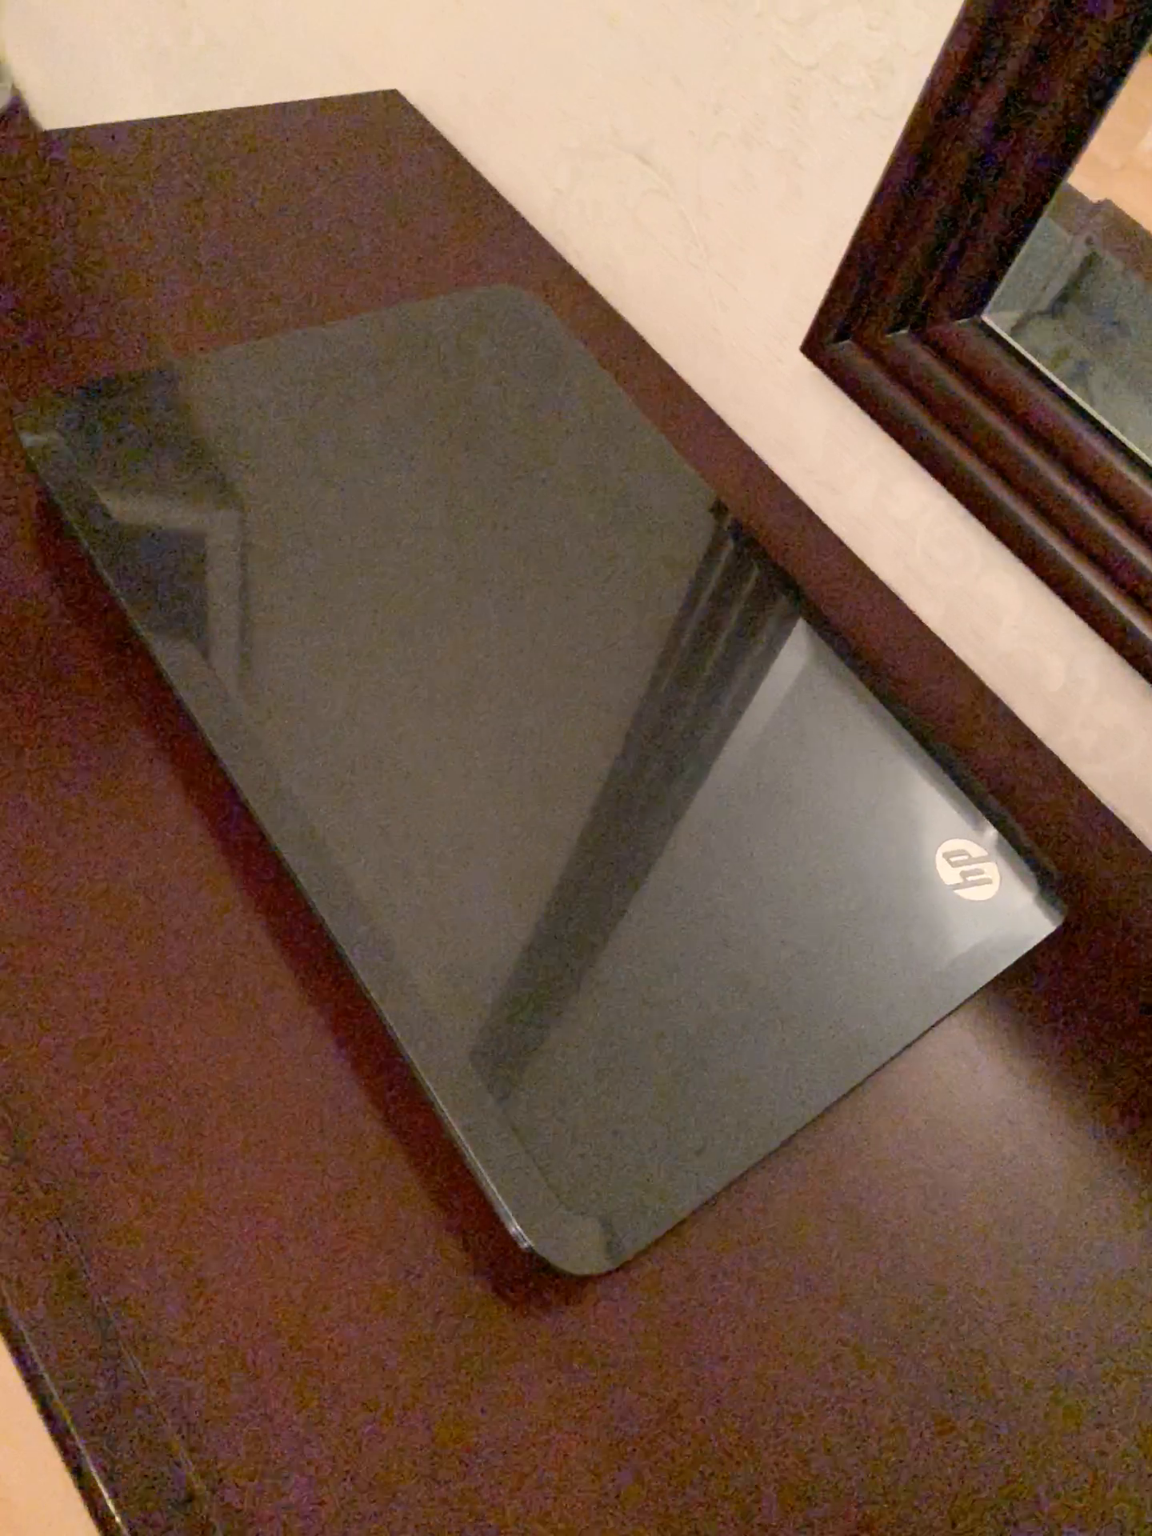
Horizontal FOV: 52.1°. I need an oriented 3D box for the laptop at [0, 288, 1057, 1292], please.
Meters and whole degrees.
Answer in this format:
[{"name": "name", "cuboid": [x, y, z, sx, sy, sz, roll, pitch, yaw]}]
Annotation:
[{"name": "laptop", "cuboid": [-0.017, -0.035, 0.417, 0.224, 0.007, 0.341, -27, 70, -29]}]
